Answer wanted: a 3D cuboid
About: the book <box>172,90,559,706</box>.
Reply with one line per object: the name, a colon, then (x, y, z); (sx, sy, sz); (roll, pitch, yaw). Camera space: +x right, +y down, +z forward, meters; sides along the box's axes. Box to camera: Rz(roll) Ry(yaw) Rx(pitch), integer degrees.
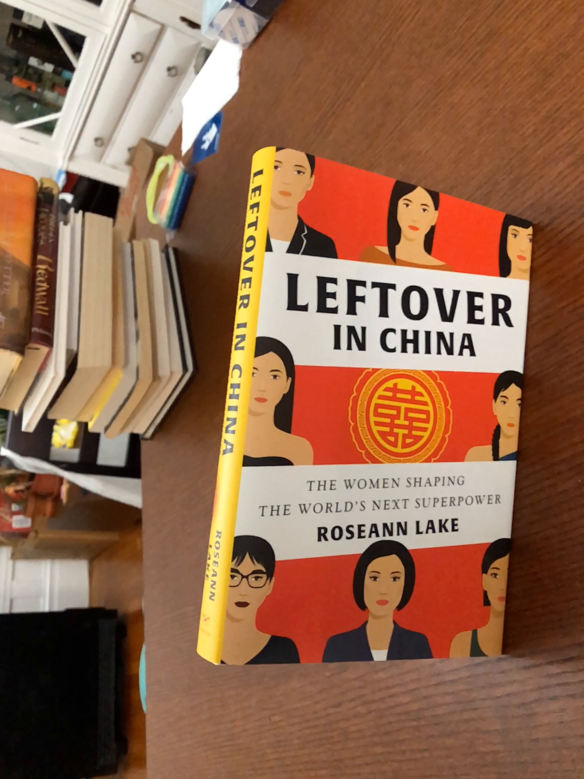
book: (0.048, 0.011, 0.342); (0.060, 0.179, 0.260); (-2, 81, 59)
